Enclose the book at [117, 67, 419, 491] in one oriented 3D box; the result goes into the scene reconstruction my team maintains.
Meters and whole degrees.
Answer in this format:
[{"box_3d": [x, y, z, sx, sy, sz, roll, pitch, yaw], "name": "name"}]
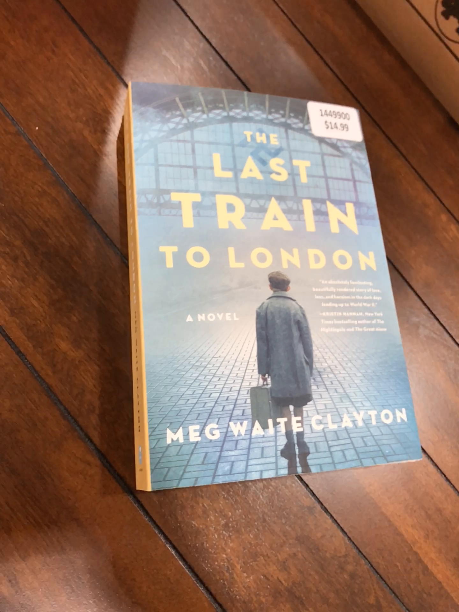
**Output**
[{"box_3d": [0.014, -0.019, 0.294, 0.151, 0.041, 0.220, 1, 74, -16], "name": "book"}]
